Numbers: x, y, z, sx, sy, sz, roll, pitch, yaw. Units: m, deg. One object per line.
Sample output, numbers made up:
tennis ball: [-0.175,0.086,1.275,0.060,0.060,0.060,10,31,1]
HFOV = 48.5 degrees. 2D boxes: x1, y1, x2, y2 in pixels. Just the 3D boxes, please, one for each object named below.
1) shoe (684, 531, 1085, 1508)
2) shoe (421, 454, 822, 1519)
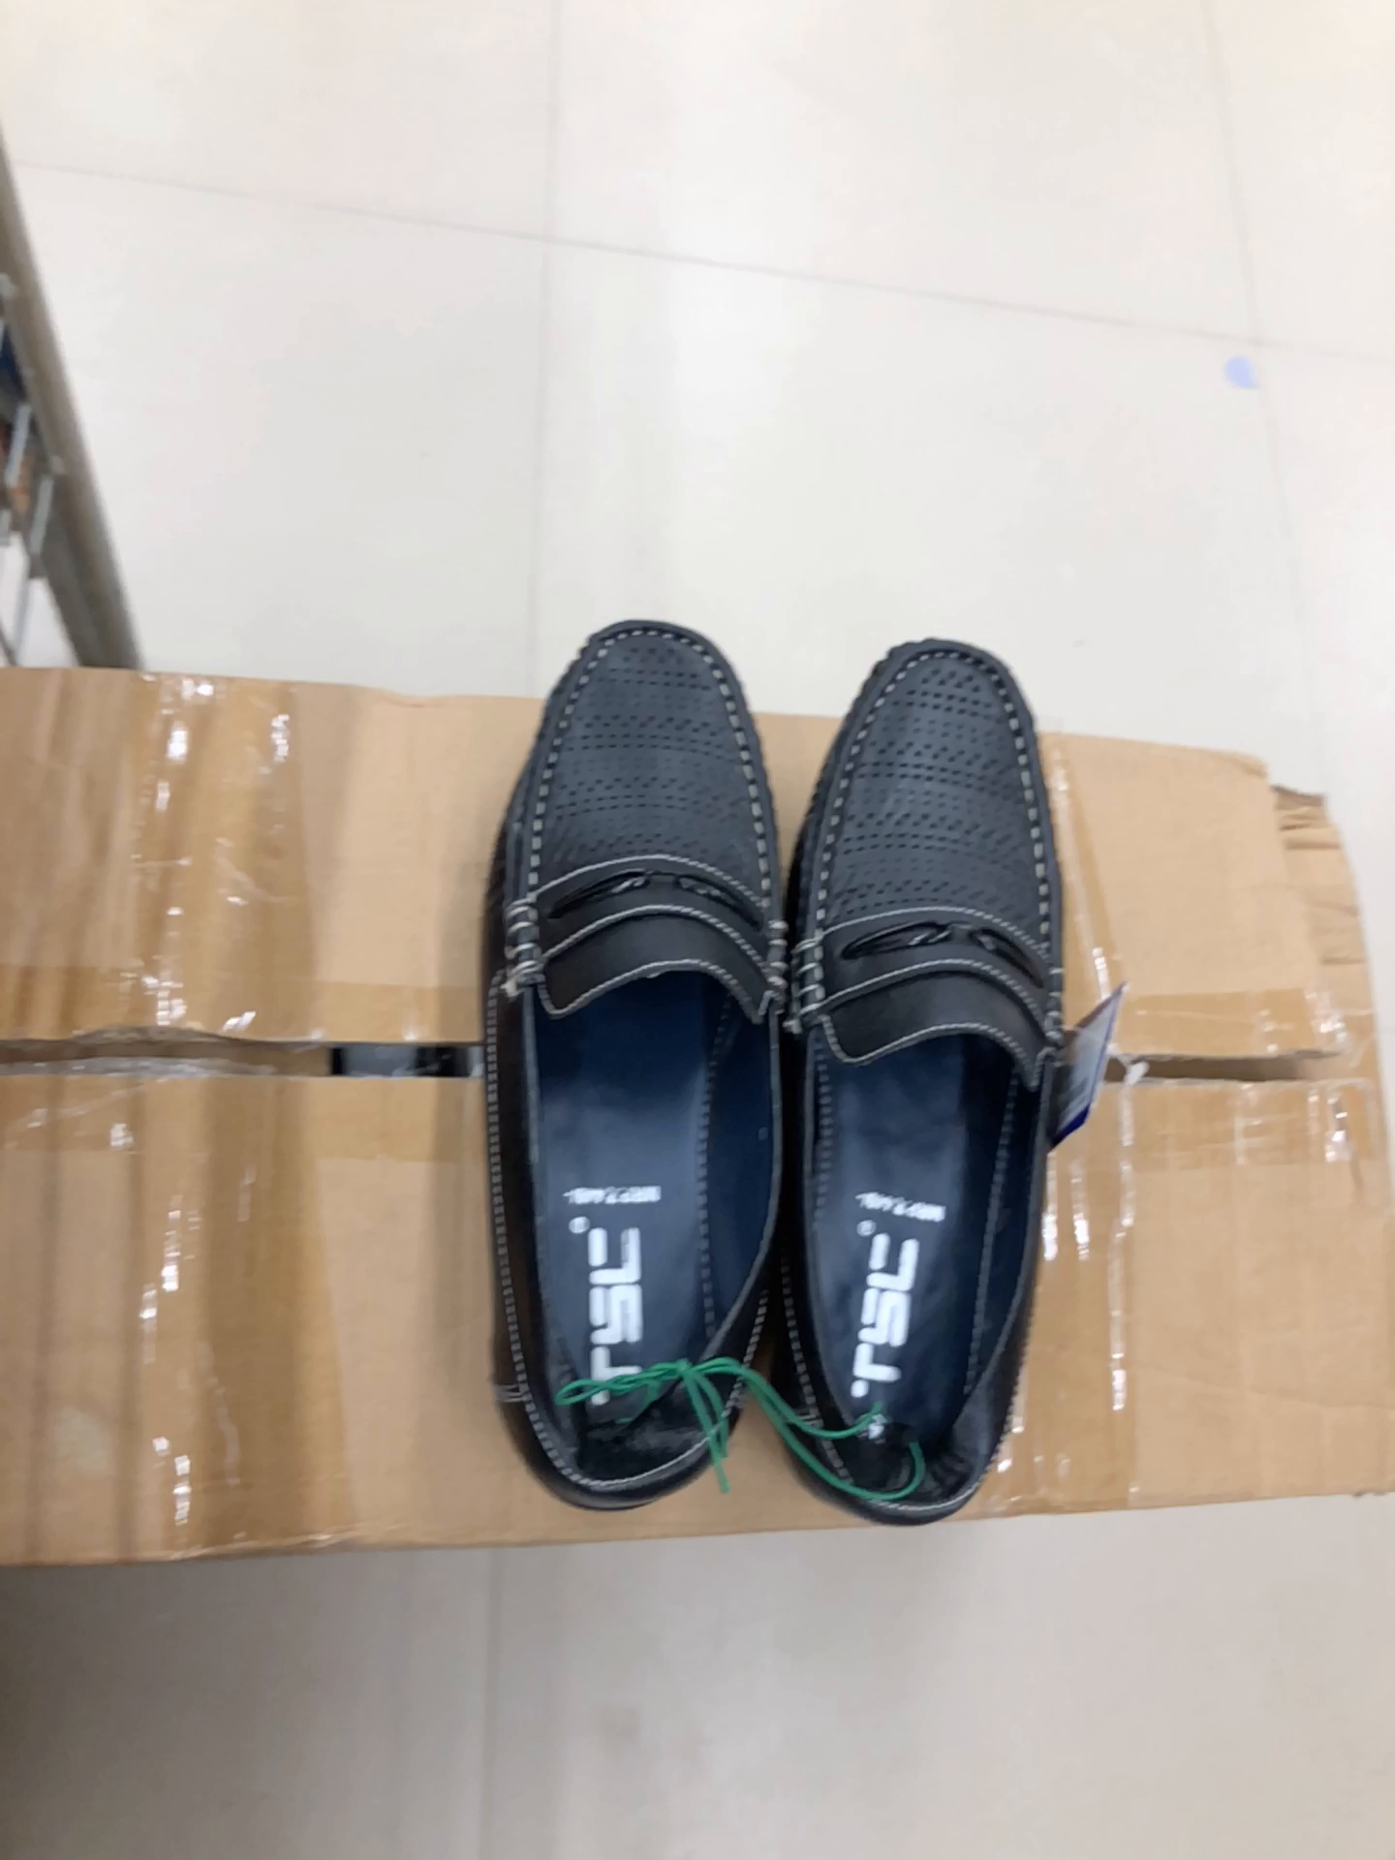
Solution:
shoe: [0.056,0.029,0.526,0.100,0.090,0.311,5,70,-10]
shoe: [-0.022,0.016,0.483,0.100,0.090,0.311,5,70,-10]
